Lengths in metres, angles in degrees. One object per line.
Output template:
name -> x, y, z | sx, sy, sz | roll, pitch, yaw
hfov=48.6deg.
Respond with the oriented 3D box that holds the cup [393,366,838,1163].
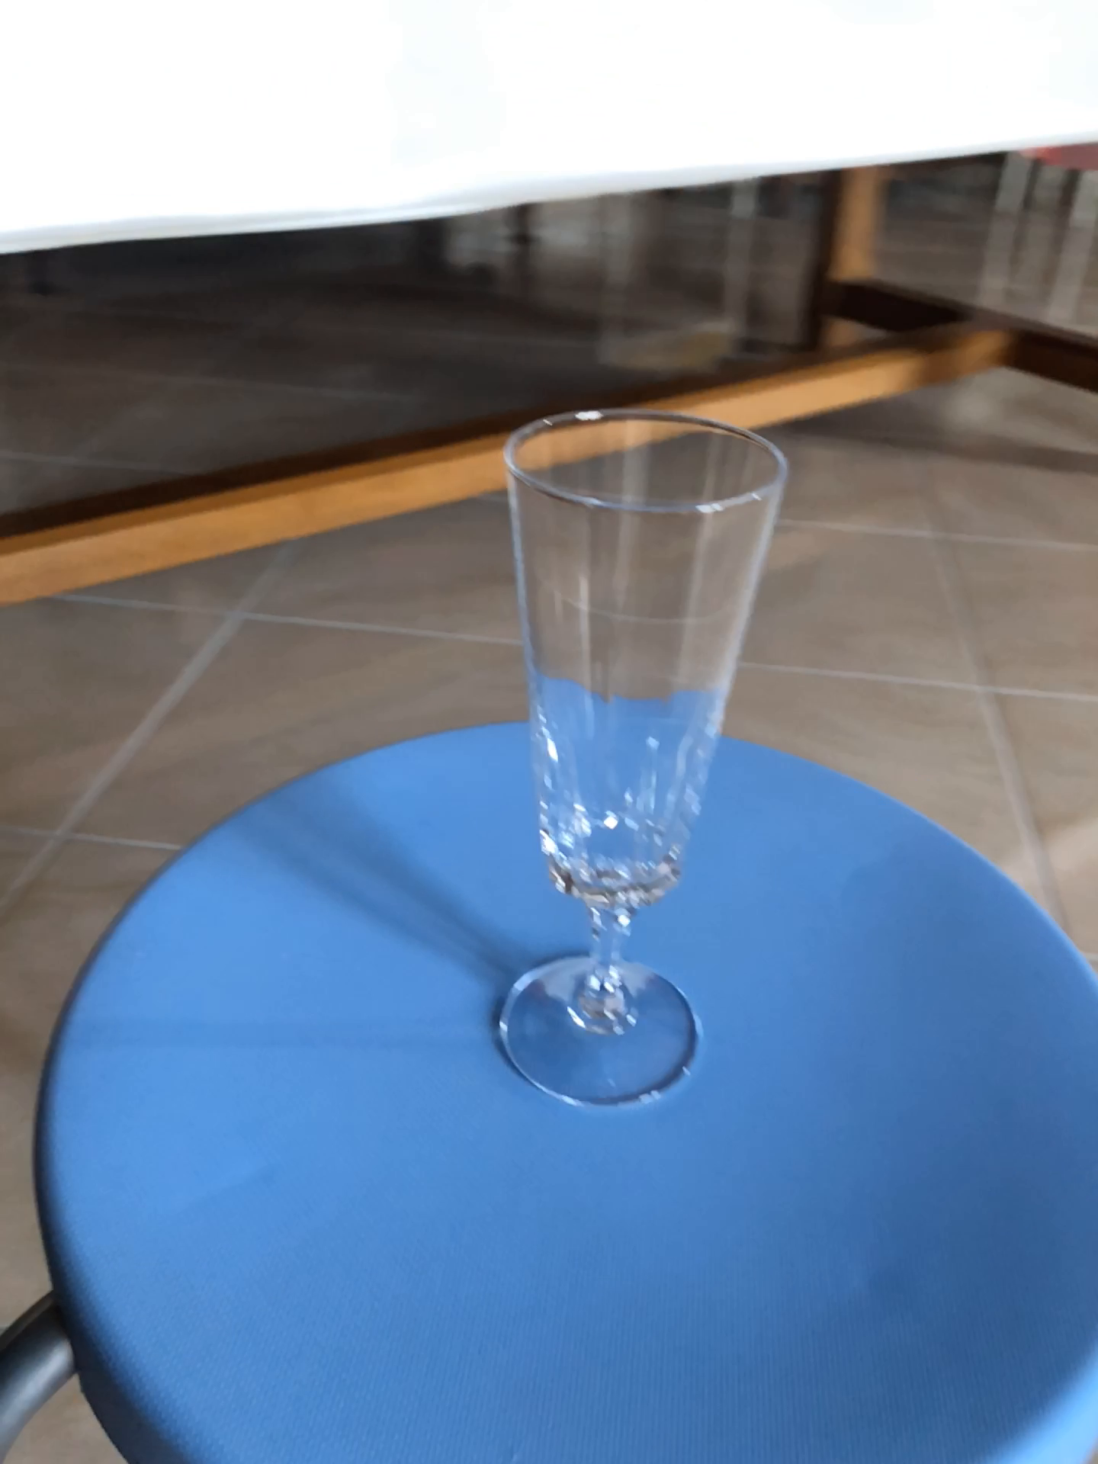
cup -> 0.015, 0.011, 0.307 | 0.080, 0.179, 0.070 | 11, 33, 14
